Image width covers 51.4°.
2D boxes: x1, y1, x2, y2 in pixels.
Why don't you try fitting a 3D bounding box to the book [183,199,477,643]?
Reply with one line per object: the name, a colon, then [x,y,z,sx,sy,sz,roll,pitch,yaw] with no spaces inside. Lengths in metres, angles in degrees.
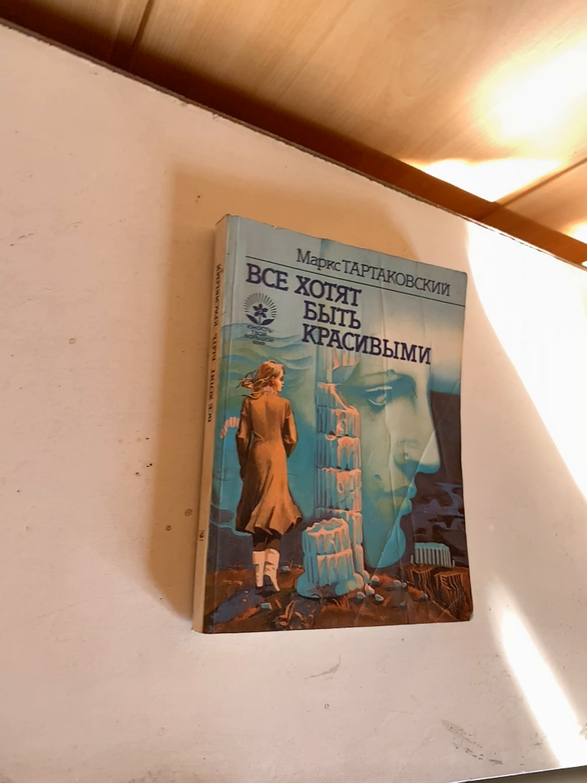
book: [0.021,0.012,0.249,0.121,0.013,0.160,7,78,-24]
